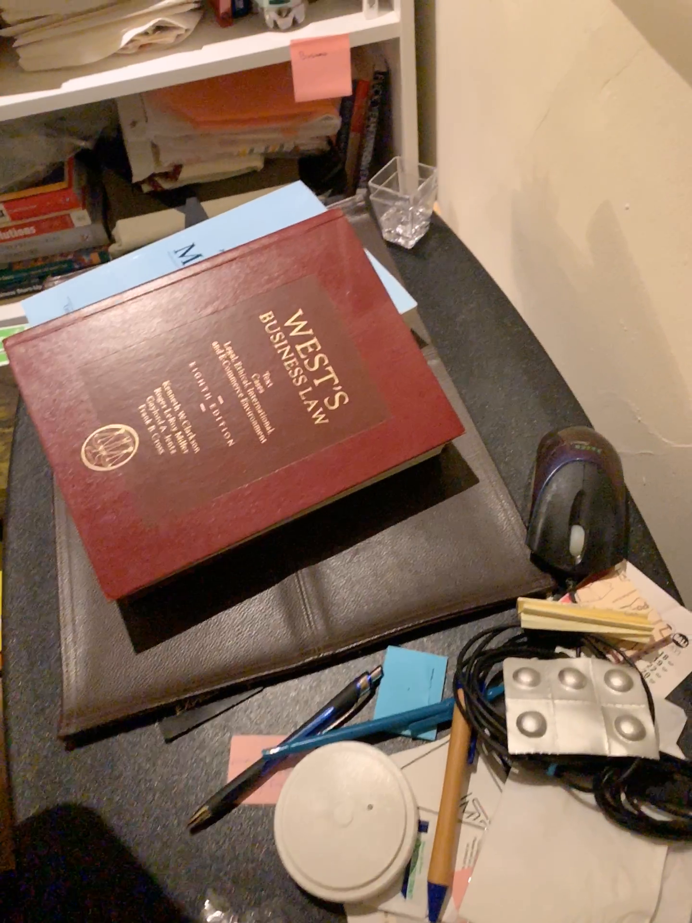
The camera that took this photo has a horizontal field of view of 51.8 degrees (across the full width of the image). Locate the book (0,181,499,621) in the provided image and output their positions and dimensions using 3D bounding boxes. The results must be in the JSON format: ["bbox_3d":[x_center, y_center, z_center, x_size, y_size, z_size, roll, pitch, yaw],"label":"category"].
[{"bbox_3d":[-0.067,-0.048,0.498,0.270,0.050,0.210,-26,80,-11],"label":"book"}]

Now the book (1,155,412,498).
[{"bbox_3d":[-0.119,-0.126,0.593,0.270,0.070,0.221,-25,55,-10],"label":"book"}]
